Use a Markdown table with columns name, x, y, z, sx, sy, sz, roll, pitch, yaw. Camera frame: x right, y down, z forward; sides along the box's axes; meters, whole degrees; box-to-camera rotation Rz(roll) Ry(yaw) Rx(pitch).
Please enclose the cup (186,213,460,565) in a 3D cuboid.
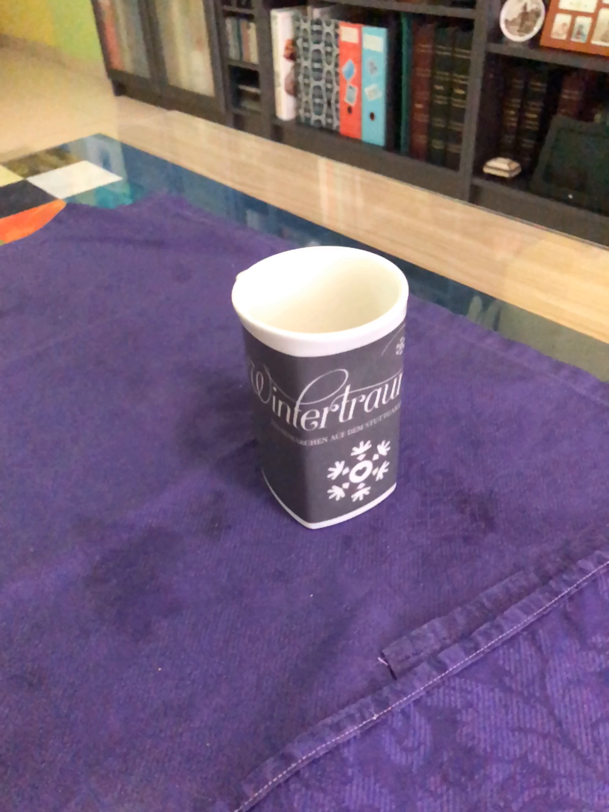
| name | x | y | z | sx | sy | sz | roll | pitch | yaw |
| --- | --- | --- | --- | --- | --- | --- | --- | --- | --- |
| cup | 0.006 | -0.011 | 0.313 | 0.070 | 0.109 | 0.100 | -22 | 43 | -21 |
